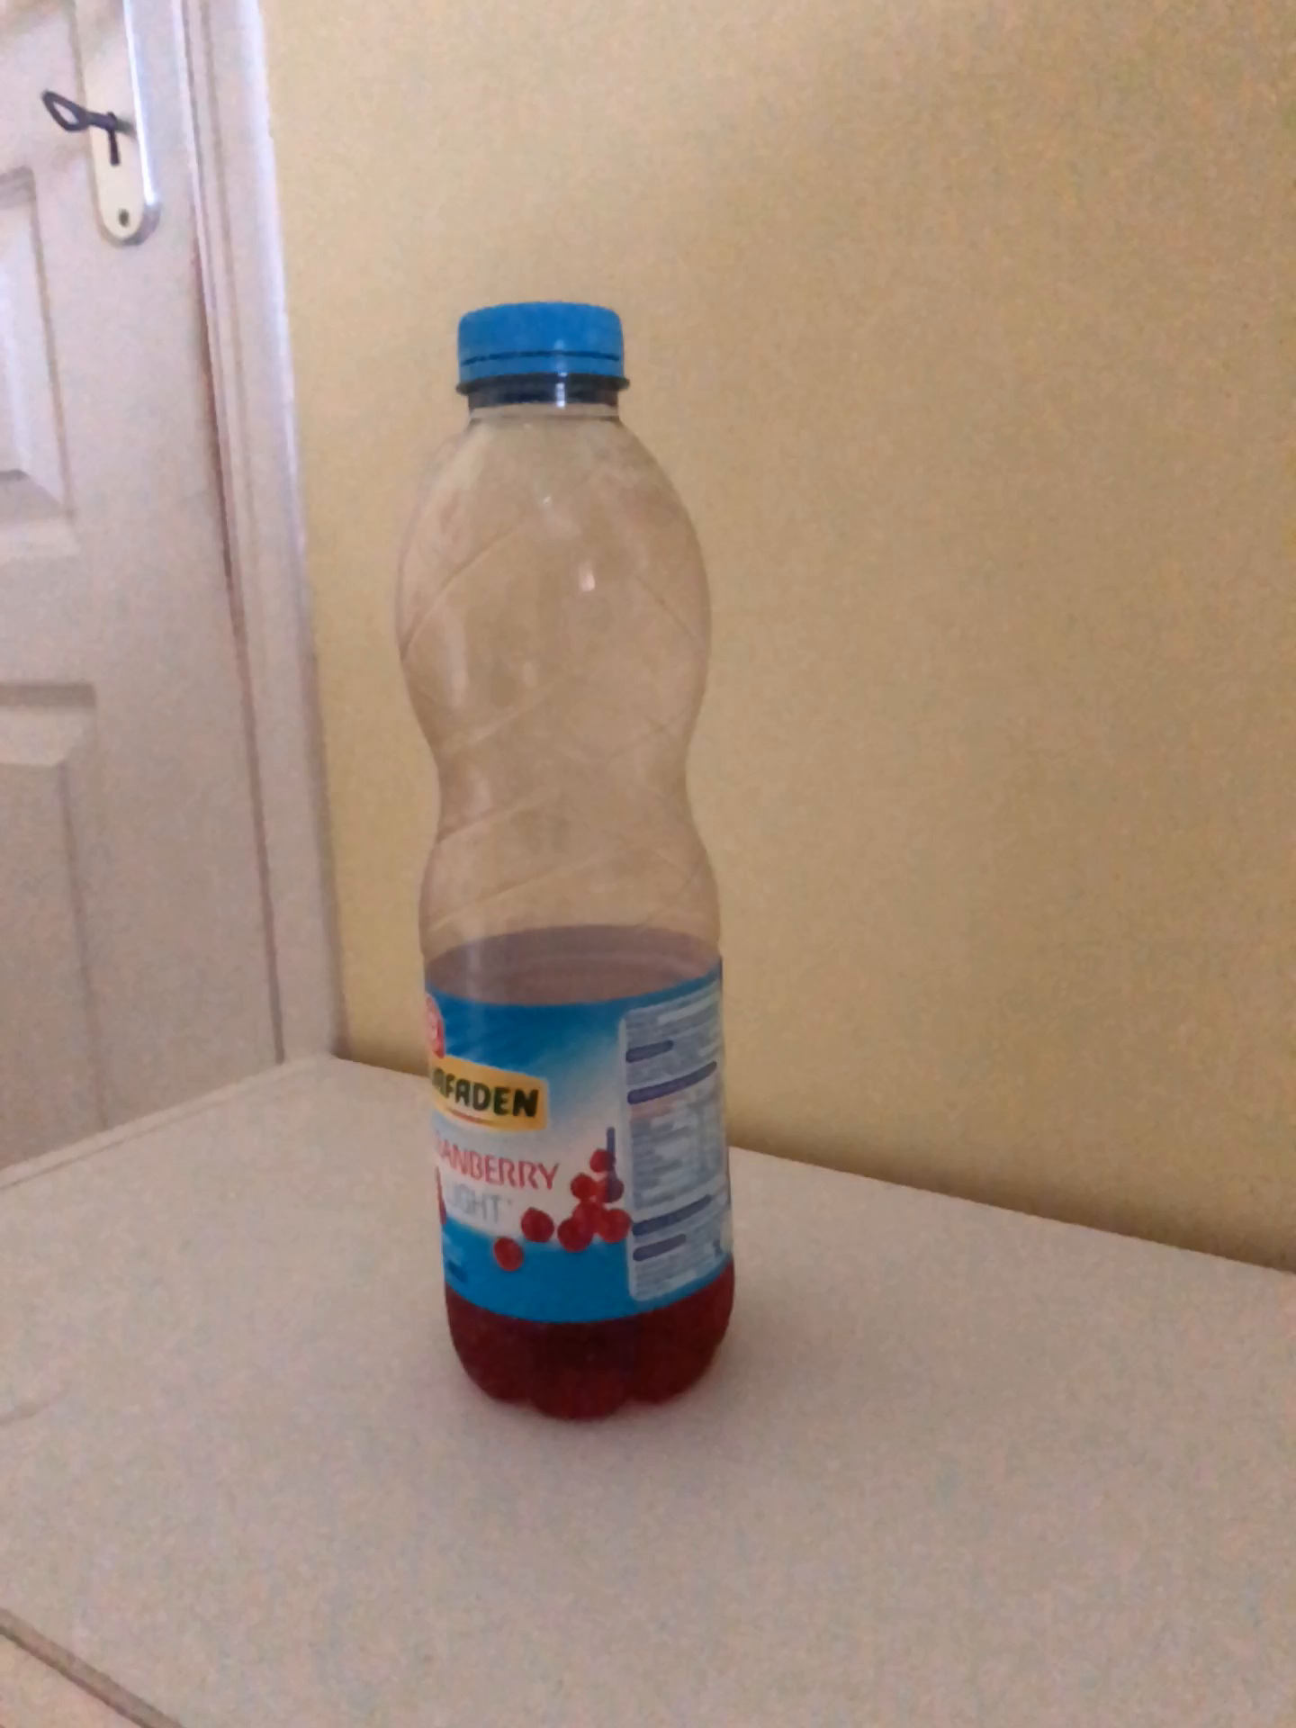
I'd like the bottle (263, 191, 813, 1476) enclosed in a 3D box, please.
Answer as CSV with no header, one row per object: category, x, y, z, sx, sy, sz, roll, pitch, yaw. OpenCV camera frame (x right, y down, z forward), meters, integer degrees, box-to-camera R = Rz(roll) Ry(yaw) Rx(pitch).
bottle,-0.022,-0.006,0.354,0.090,0.269,0.080,5,12,39
